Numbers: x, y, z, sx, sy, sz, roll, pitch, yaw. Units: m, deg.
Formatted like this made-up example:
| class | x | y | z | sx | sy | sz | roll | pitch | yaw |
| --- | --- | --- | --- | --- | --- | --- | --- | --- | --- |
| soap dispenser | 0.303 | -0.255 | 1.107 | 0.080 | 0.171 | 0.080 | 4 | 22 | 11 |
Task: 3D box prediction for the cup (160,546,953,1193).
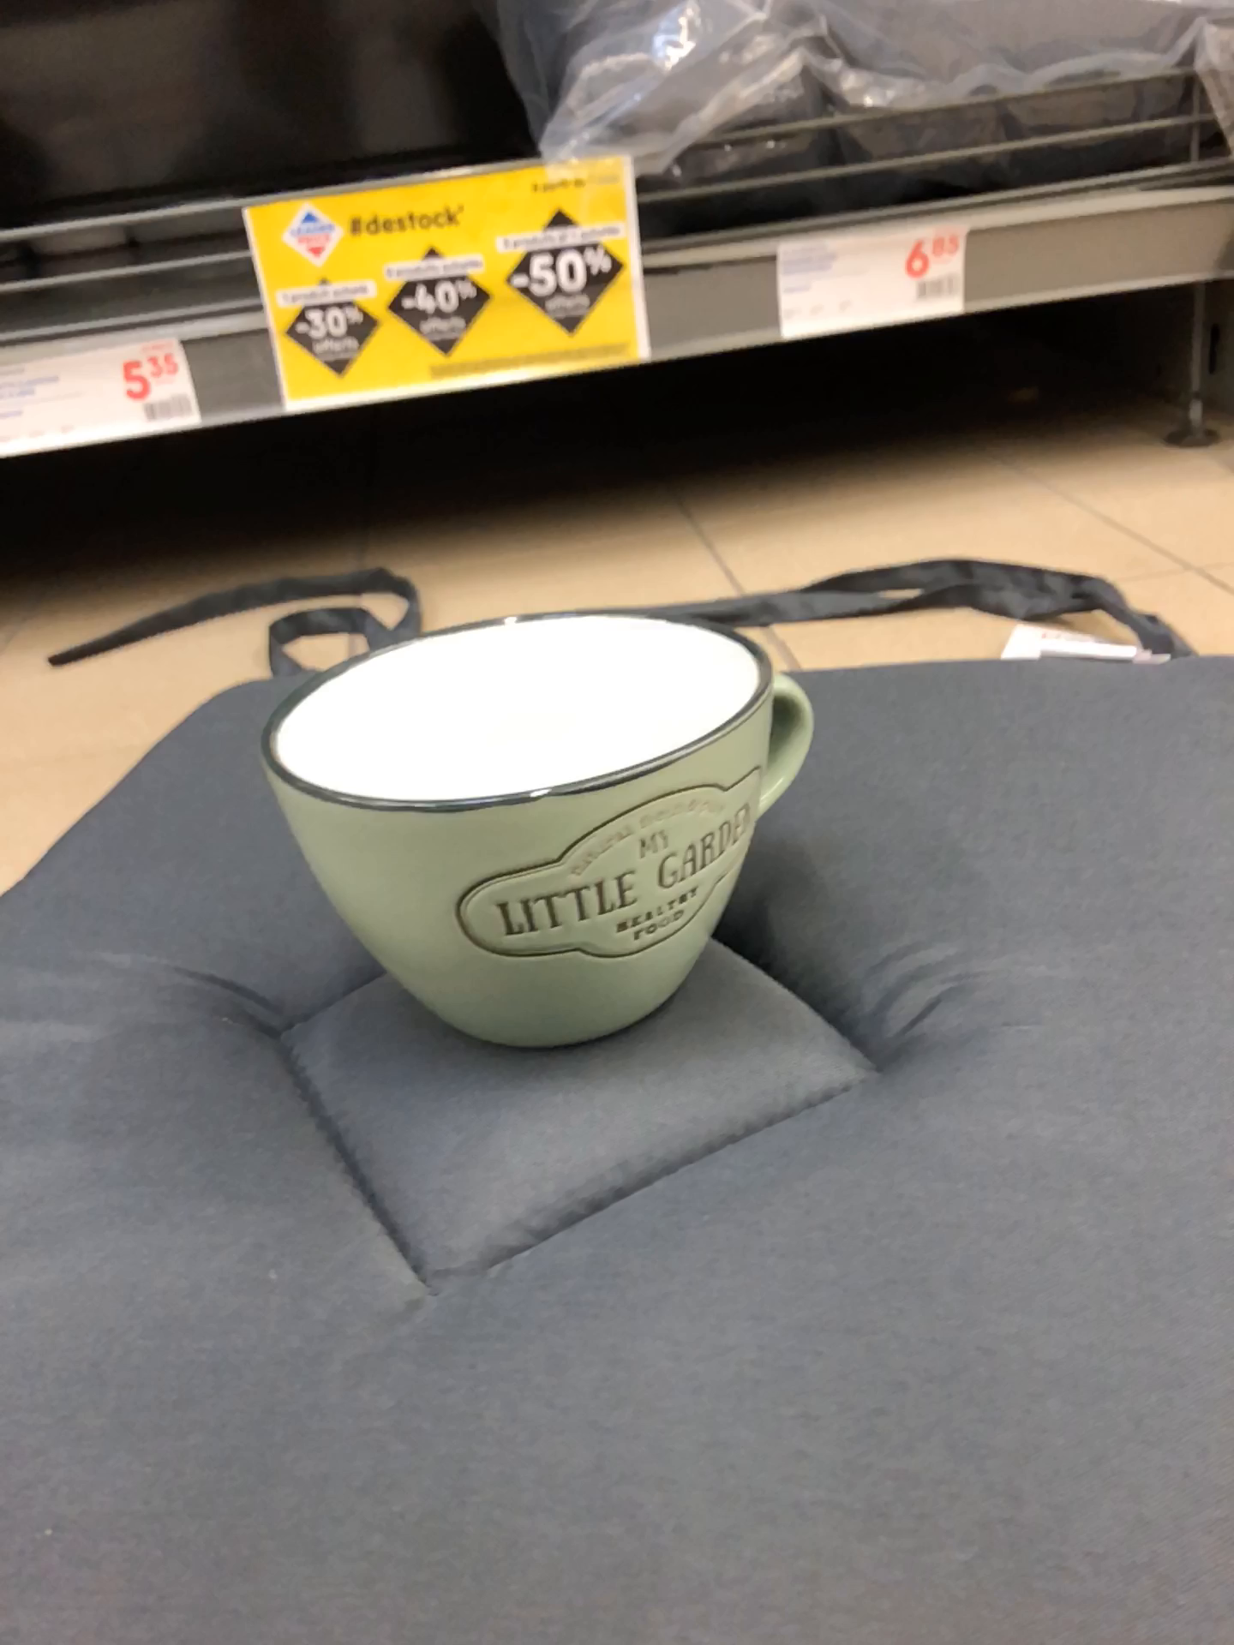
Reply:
| class | x | y | z | sx | sy | sz | roll | pitch | yaw |
| --- | --- | --- | --- | --- | --- | --- | --- | --- | --- |
| cup | -0.015 | -0.003 | 0.326 | 0.140 | 0.070 | 0.120 | -22 | 31 | -24 |
